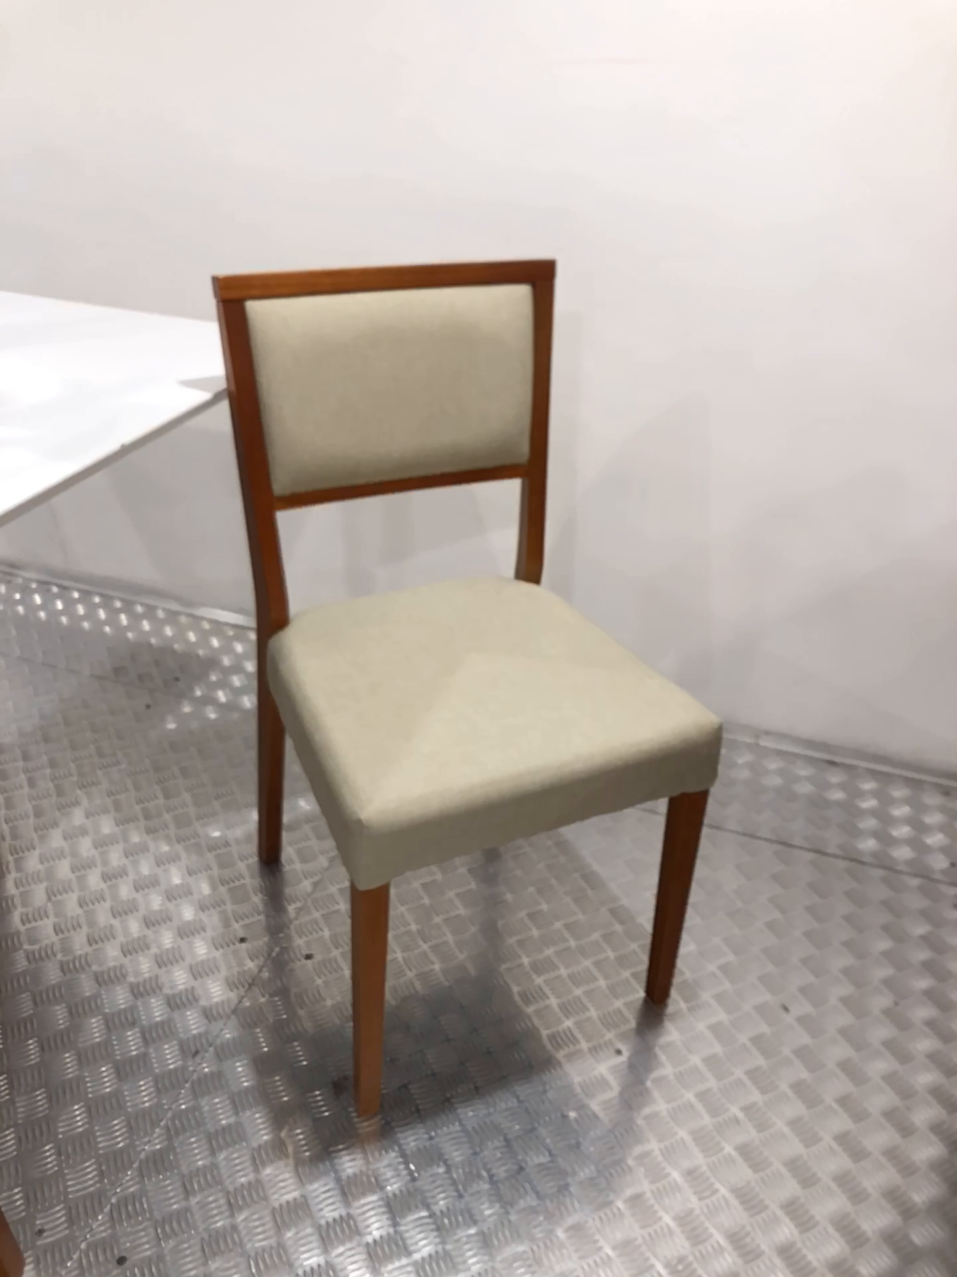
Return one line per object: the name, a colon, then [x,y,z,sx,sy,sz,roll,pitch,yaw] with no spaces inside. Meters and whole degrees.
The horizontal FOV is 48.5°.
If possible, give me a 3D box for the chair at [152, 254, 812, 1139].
chair: [-0.059,0.027,1.416,0.521,0.893,0.623,-12,33,-24]
